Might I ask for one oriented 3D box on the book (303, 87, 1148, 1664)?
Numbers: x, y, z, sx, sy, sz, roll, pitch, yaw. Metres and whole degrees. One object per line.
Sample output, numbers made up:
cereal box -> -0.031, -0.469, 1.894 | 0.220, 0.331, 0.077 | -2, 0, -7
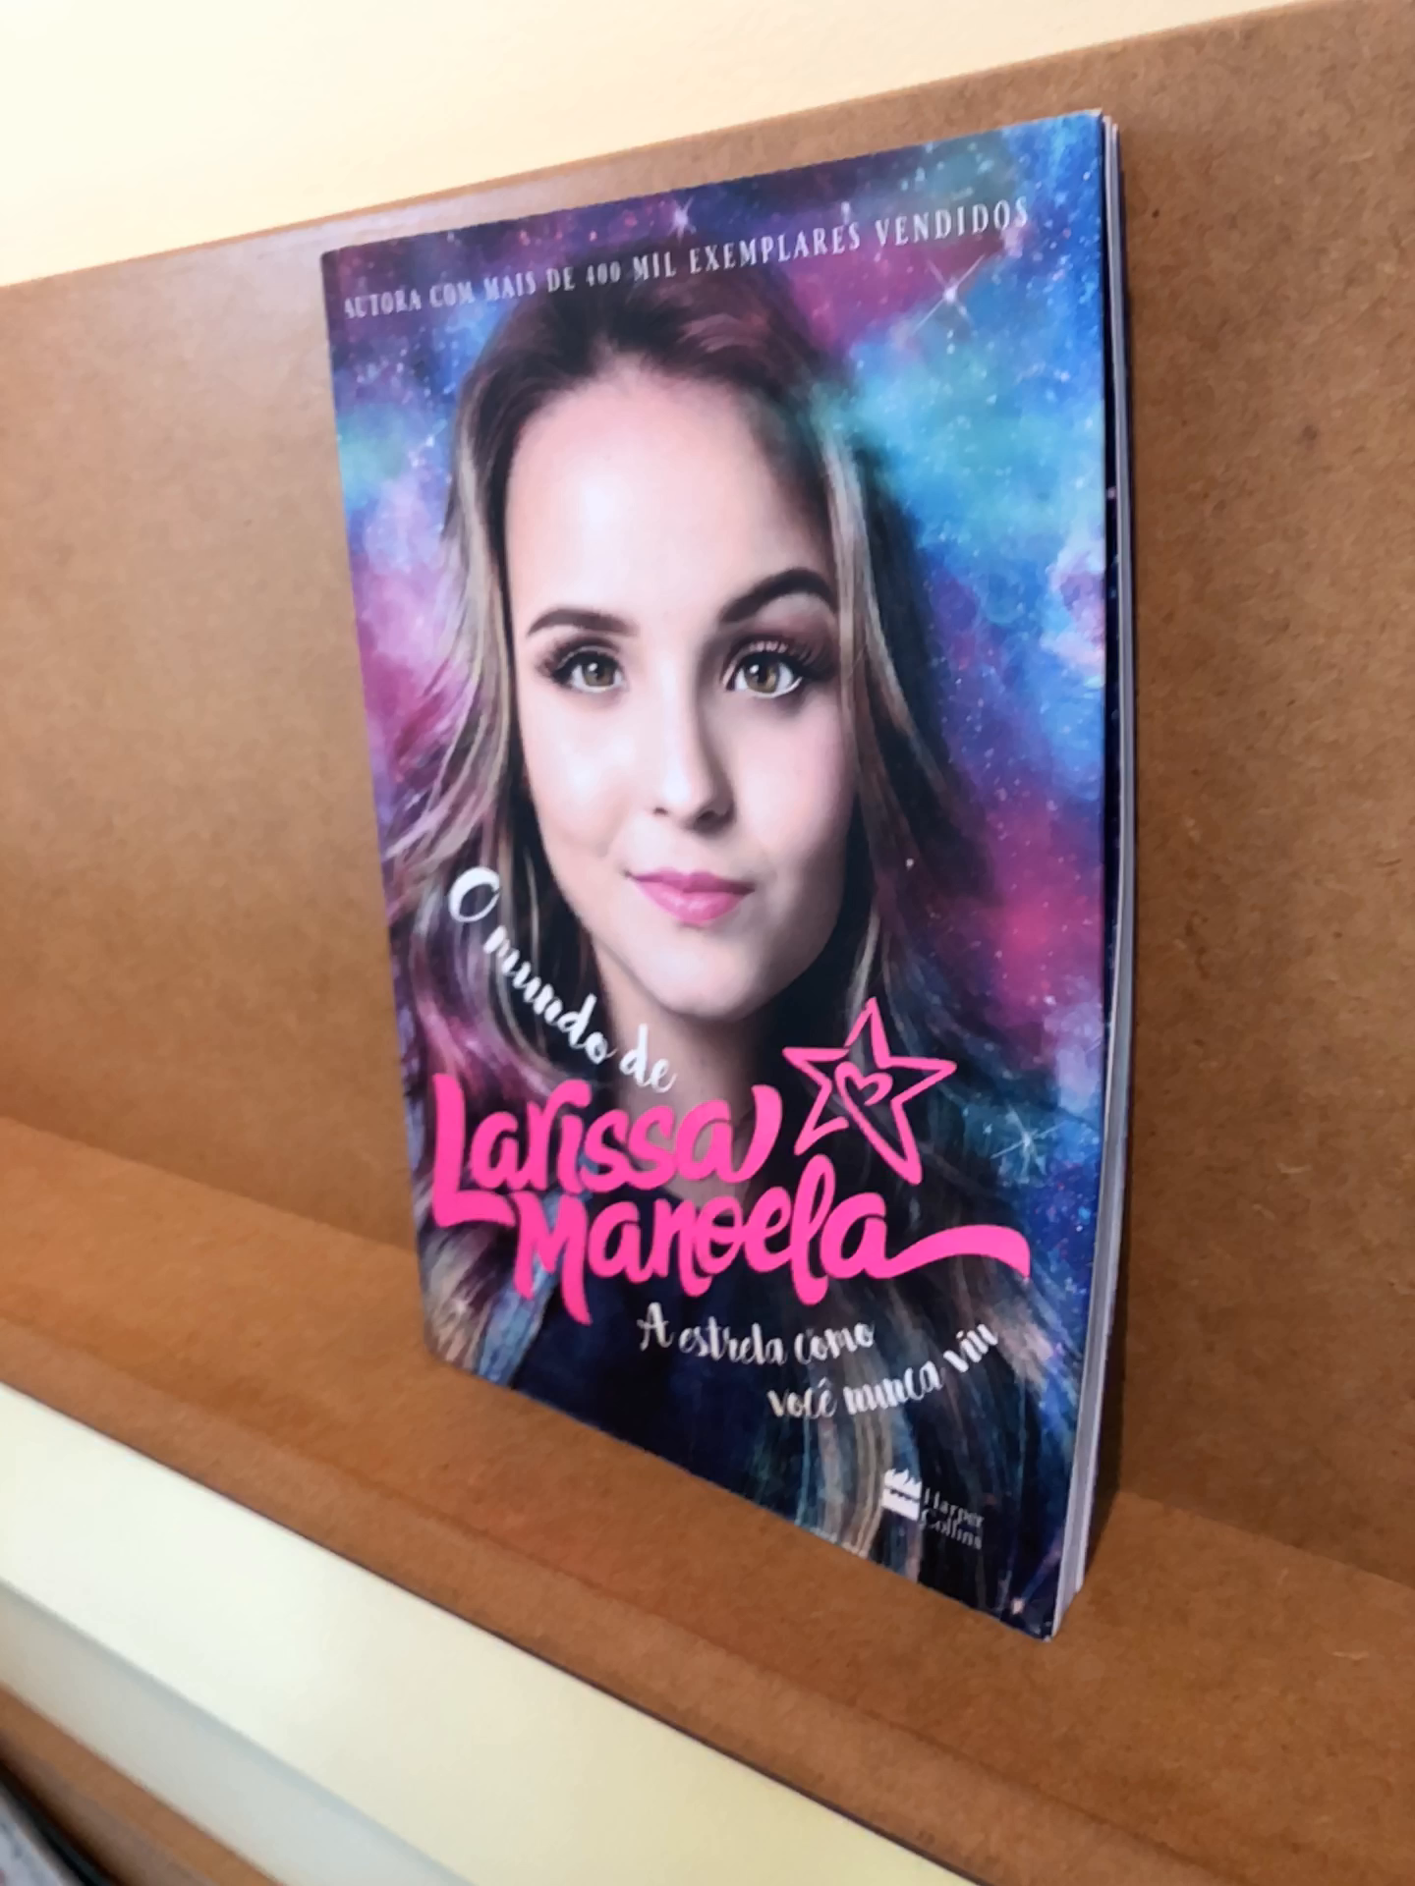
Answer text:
book -> -0.002, -0.008, 0.270 | 0.150, 0.221, 0.020 | 10, 20, 39
